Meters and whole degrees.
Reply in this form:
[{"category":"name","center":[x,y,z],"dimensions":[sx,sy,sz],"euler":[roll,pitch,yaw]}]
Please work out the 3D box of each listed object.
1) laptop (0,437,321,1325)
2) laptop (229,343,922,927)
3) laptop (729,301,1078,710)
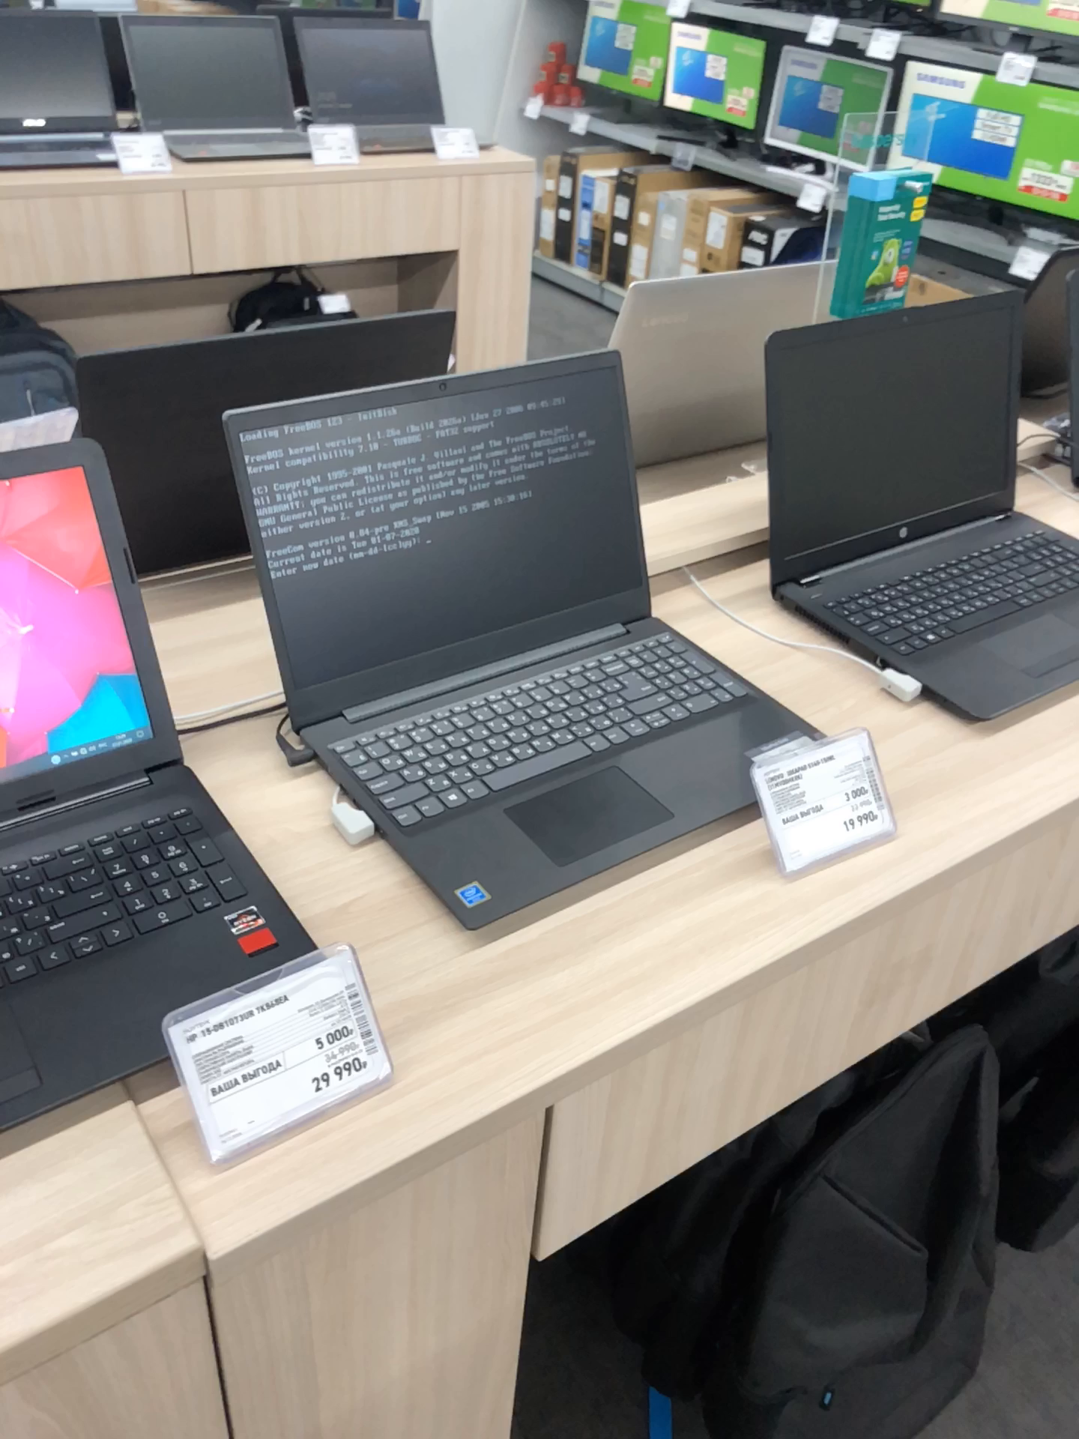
[{"category":"laptop","center":[-0.347,0.033,0.629],"dimensions":[0.352,0.202,0.321],"euler":[-18,41,-30]},{"category":"laptop","center":[0.011,-0.092,0.856],"dimensions":[0.341,0.210,0.322],"euler":[-19,42,-30]},{"category":"laptop","center":[0.420,-0.213,1.070],"dimensions":[0.338,0.208,0.298],"euler":[-19,42,-31]}]
